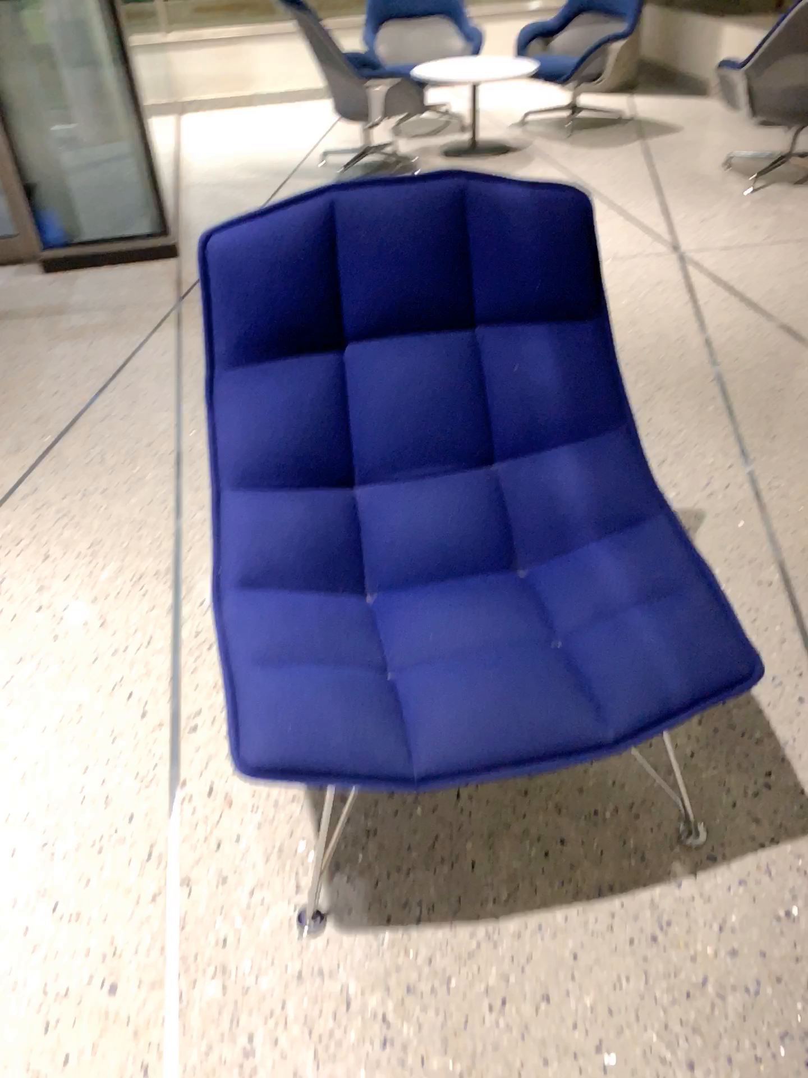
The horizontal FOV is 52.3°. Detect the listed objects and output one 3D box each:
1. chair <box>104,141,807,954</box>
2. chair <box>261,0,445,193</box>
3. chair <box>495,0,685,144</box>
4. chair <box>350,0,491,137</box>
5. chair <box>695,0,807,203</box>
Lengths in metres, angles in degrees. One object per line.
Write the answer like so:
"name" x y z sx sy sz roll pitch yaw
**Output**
"chair" 0.083 -0.021 1.355 0.808 0.931 0.787 -9 38 -7
"chair" -0.272 -2.519 4.466 0.771 0.931 0.807 -12 39 -10
"chair" 1.104 -3.113 5.112 0.761 0.971 0.786 -19 40 -18
"chair" 0.101 -3.167 5.191 0.670 0.941 0.777 -11 39 -9
"chair" 1.968 -2.298 4.056 0.640 0.961 0.777 -5 39 -1
